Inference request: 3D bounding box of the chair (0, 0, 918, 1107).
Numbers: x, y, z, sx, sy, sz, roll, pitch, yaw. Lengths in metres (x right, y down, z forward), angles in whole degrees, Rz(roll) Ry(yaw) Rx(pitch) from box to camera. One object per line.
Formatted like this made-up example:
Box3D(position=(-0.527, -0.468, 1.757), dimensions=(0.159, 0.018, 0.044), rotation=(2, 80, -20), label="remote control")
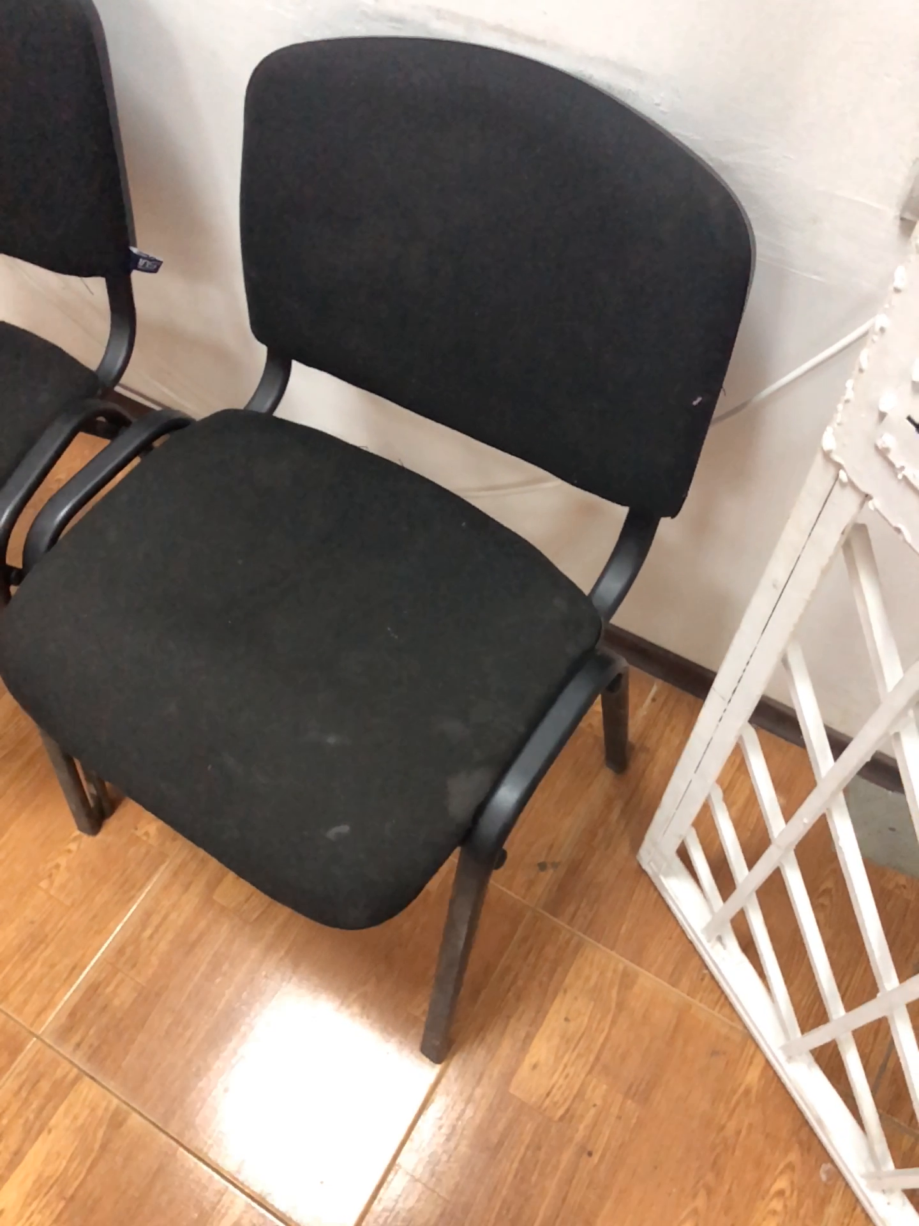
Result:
Box3D(position=(-0.066, -0.035, 0.947), dimensions=(0.570, 0.689, 0.621), rotation=(29, 64, 18), label="chair")
